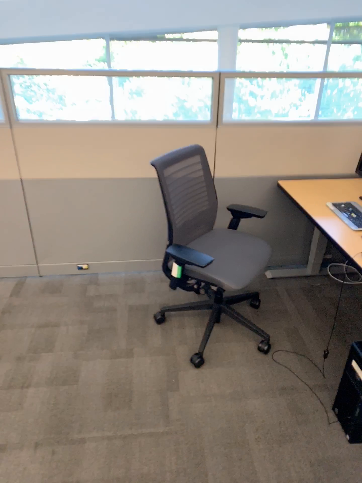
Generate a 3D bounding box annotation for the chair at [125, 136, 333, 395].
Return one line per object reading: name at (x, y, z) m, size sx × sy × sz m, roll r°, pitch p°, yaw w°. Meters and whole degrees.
chair at (0.264, 0.063, 2.139) m, size 0.803 × 1.083 × 0.772 m, roll 18°, pitch 33°, yaw 28°

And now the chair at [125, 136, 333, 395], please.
chair at (0.264, 0.063, 2.139) m, size 0.803 × 1.083 × 0.772 m, roll 18°, pitch 33°, yaw 28°
